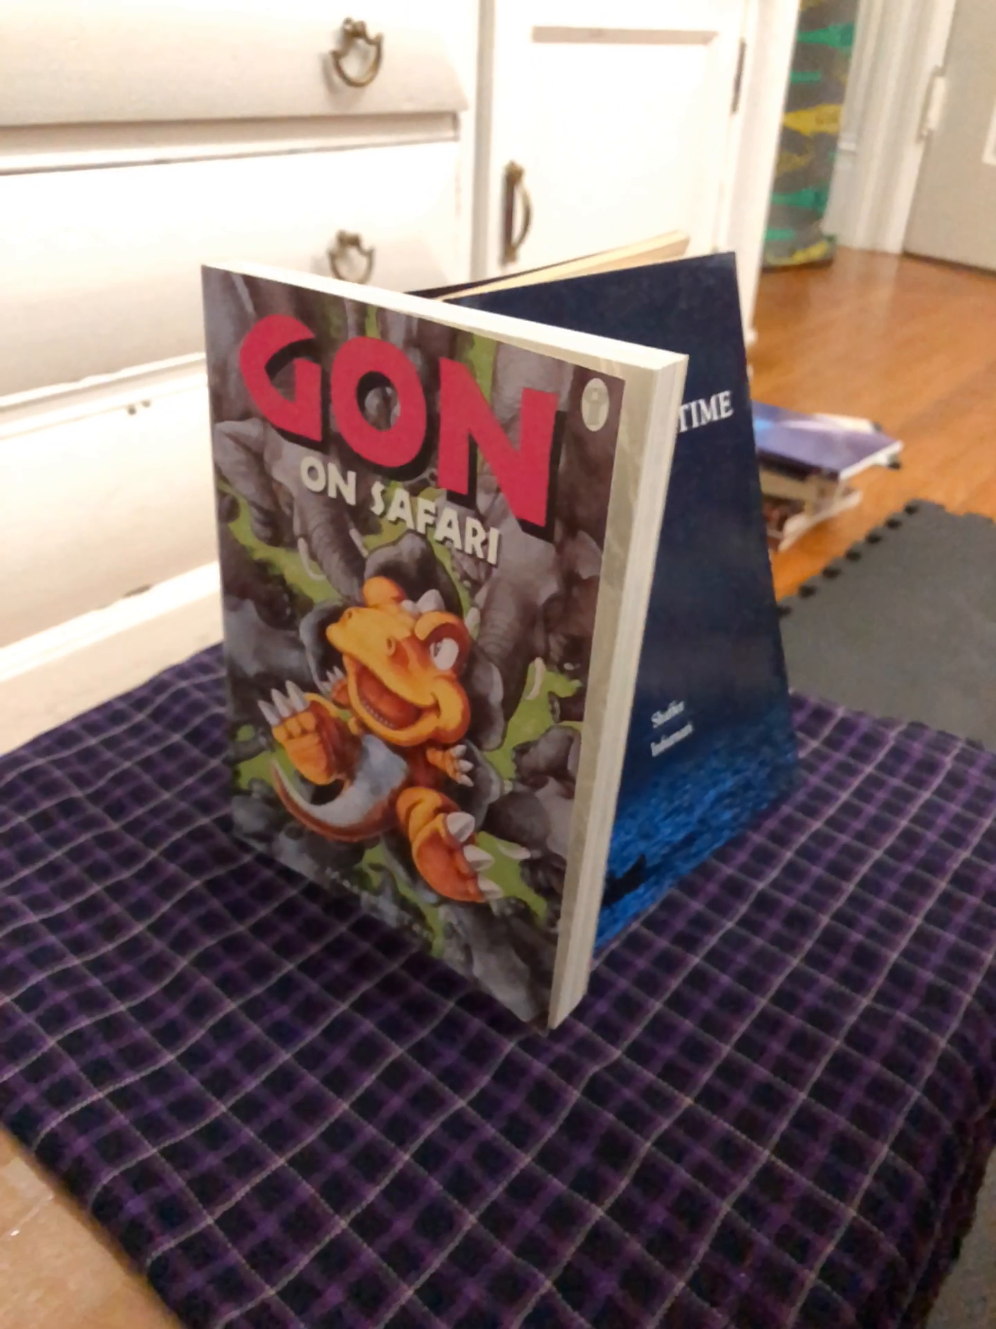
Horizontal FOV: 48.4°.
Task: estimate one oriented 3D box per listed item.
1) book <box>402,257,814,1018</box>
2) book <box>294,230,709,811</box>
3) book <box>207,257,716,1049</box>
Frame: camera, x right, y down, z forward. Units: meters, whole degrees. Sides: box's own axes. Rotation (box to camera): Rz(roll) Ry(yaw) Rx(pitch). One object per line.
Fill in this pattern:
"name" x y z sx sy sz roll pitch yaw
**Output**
"book" 0.049 -0.017 0.352 0.010 0.199 0.151 1 22 42
"book" -0.002 -0.048 0.395 0.010 0.199 0.141 38 43 18
"book" -0.025 -0.004 0.310 0.140 0.189 0.020 21 28 28
